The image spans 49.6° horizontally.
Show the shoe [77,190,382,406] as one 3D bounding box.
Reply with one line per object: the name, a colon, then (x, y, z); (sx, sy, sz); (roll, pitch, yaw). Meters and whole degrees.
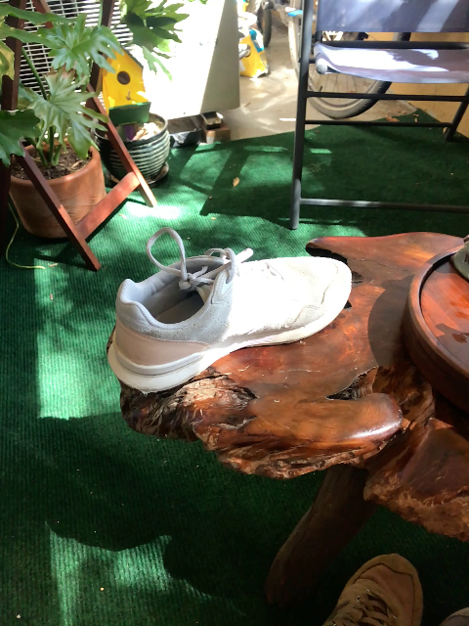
shoe: (-0.002, -0.022, 0.499); (0.264, 0.091, 0.103); (-20, 45, -15)
